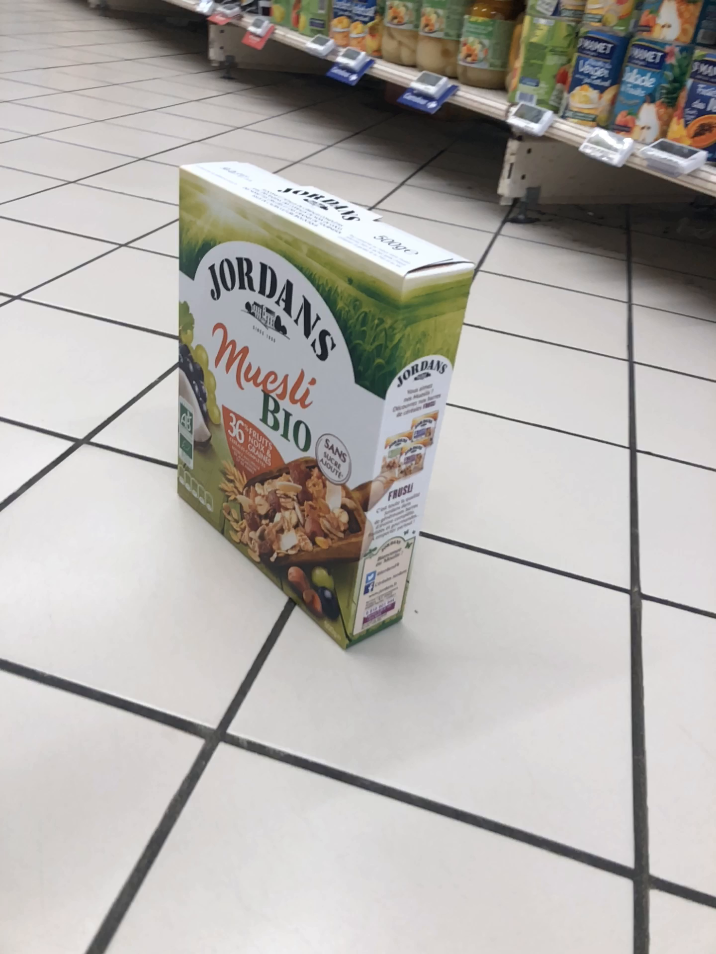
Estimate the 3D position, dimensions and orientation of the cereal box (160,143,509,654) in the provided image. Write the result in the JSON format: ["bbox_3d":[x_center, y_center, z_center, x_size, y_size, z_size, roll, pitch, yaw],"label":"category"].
[{"bbox_3d":[-0.034,-0.049,0.429,0.060,0.209,0.190,-19,42,-37],"label":"cereal box"}]
